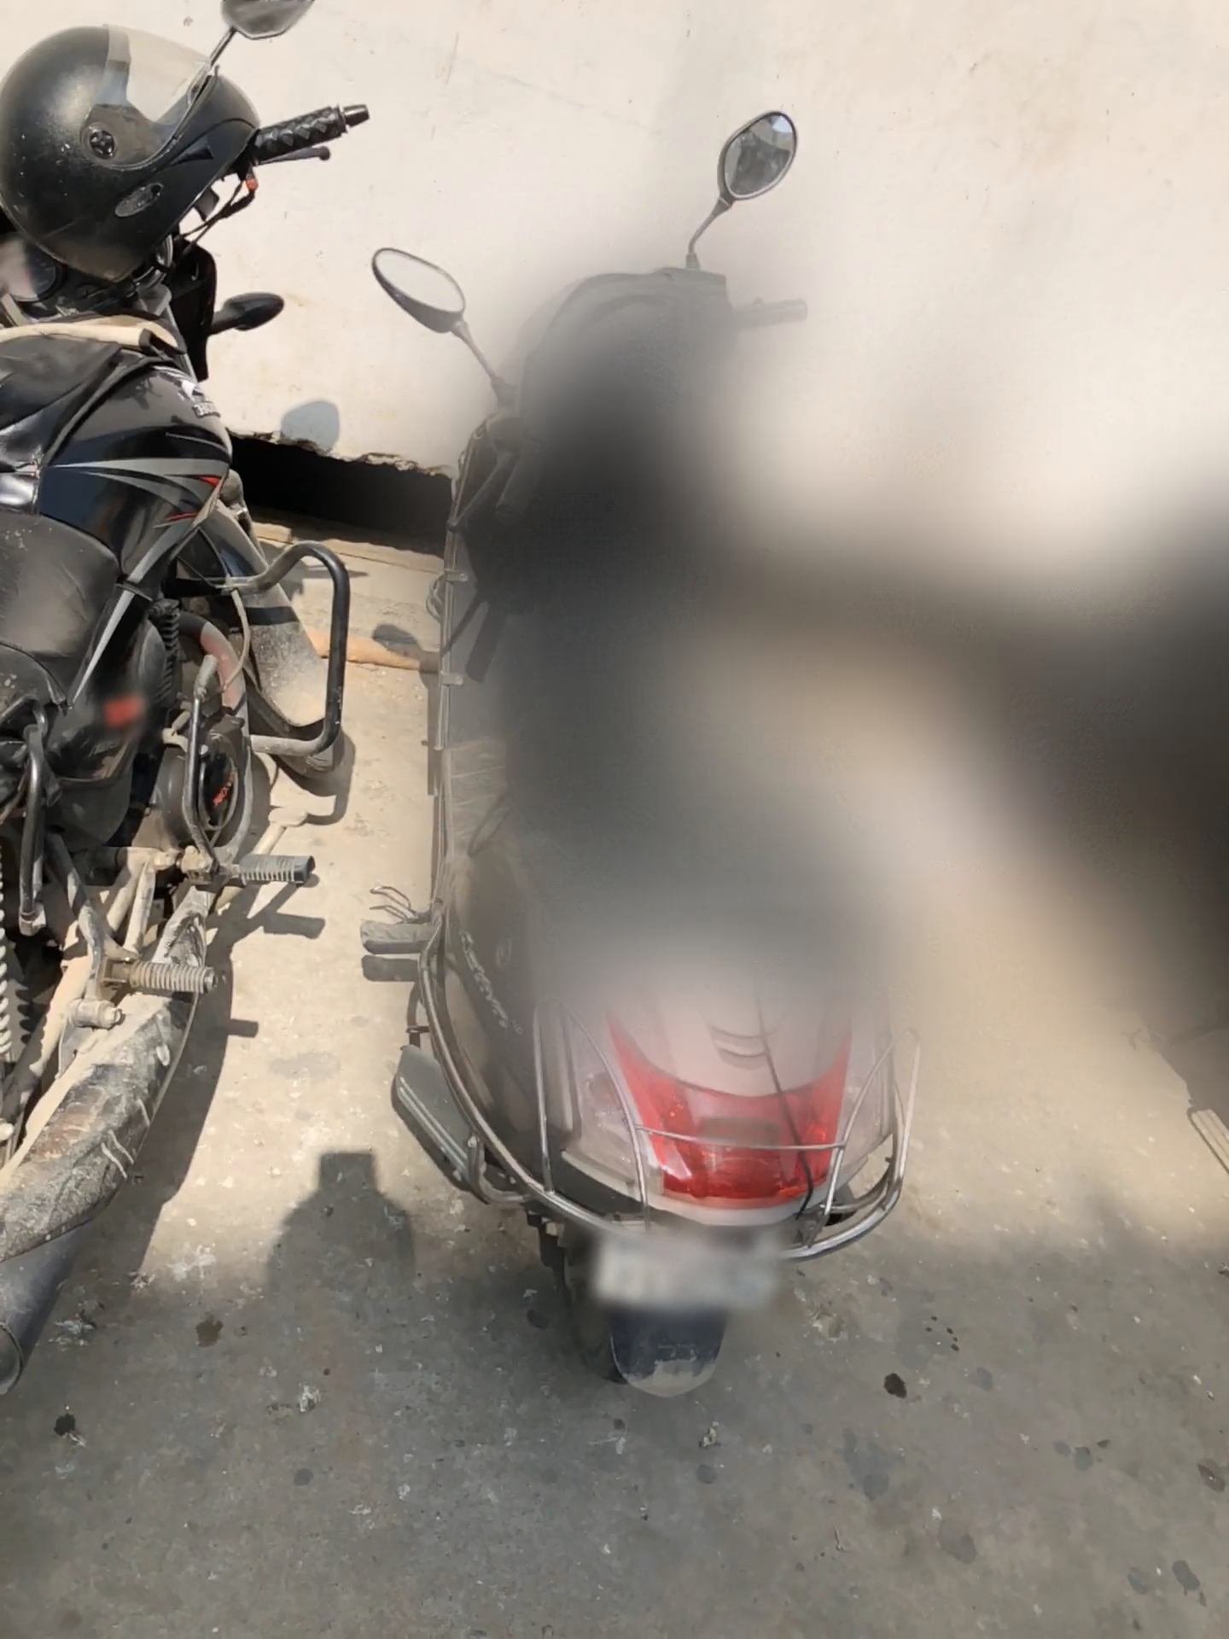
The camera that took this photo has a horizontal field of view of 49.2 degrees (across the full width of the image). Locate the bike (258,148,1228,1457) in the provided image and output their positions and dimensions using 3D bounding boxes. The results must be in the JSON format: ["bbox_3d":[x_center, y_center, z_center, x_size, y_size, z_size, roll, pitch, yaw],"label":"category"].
[{"bbox_3d":[-0.022,-0.129,1.914,0.616,1.108,1.507,12,33,-18],"label":"bike"}]
